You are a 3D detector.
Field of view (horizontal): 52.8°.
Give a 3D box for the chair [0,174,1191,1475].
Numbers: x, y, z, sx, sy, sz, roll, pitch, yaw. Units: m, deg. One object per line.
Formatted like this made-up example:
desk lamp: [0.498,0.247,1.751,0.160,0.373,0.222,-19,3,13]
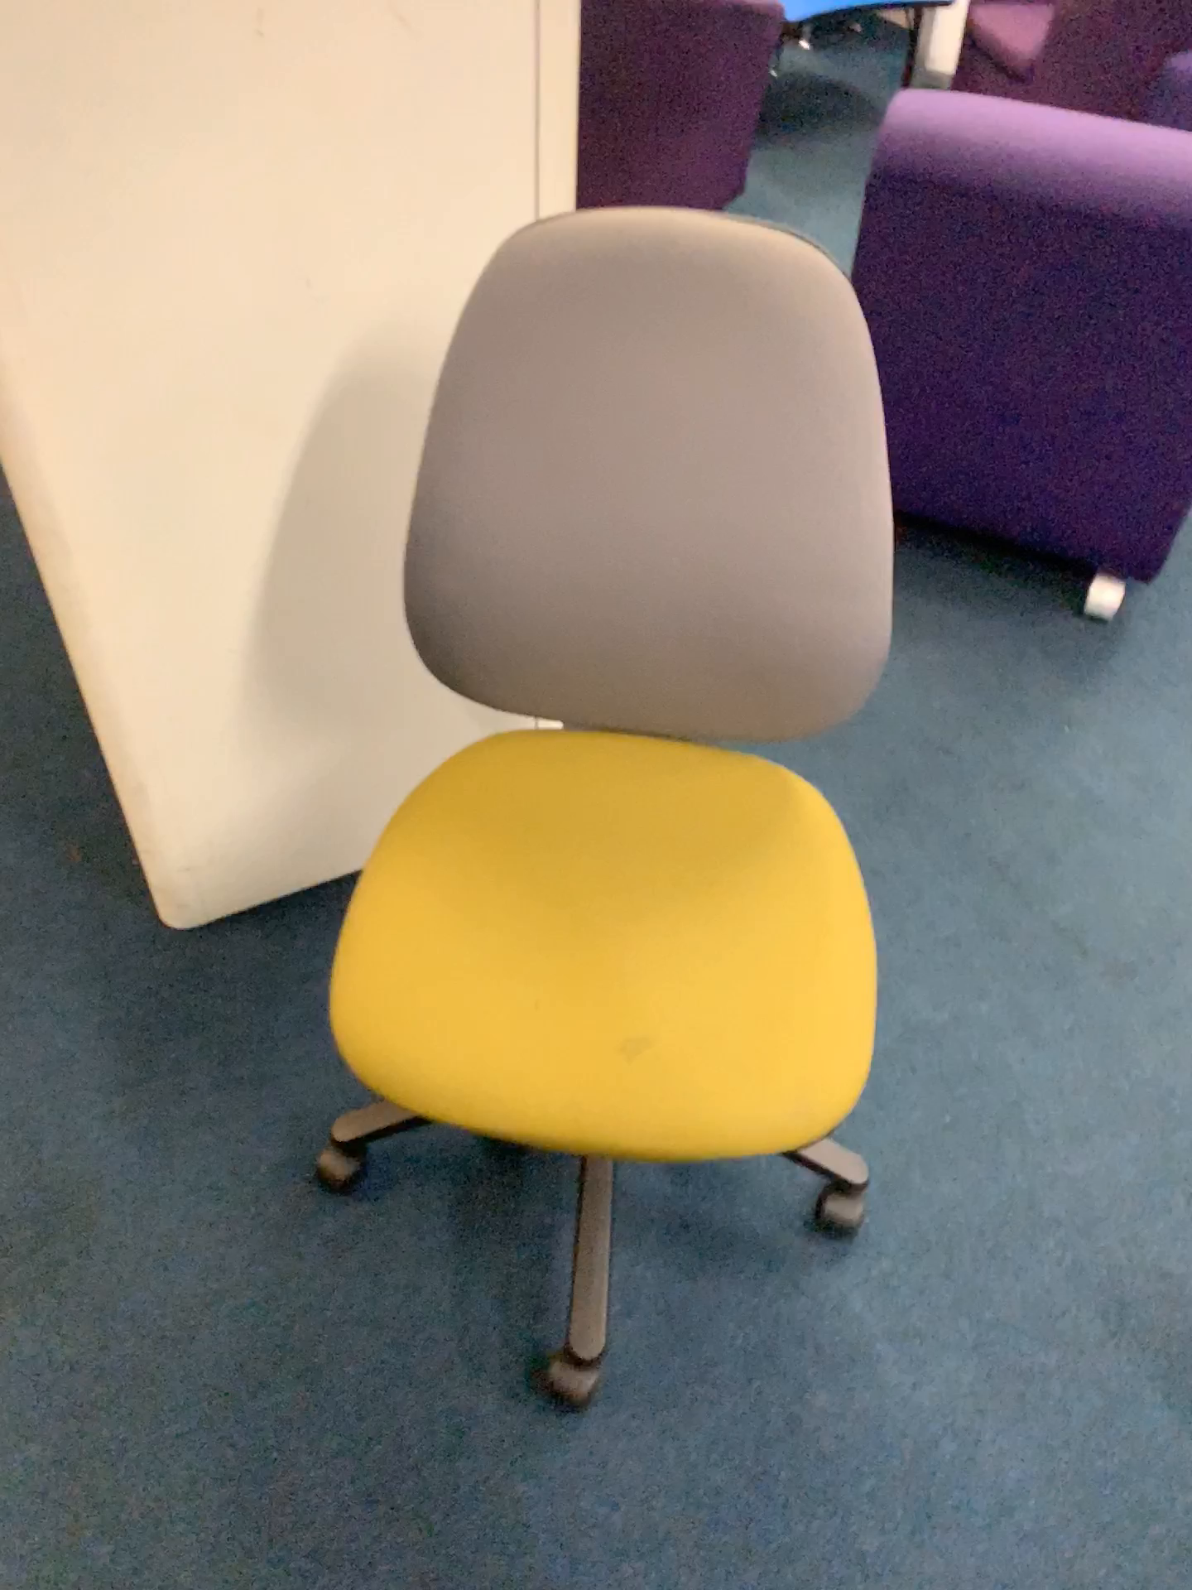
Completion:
chair: [0.021,0.069,1.092,0.640,0.921,0.666,6,45,3]
